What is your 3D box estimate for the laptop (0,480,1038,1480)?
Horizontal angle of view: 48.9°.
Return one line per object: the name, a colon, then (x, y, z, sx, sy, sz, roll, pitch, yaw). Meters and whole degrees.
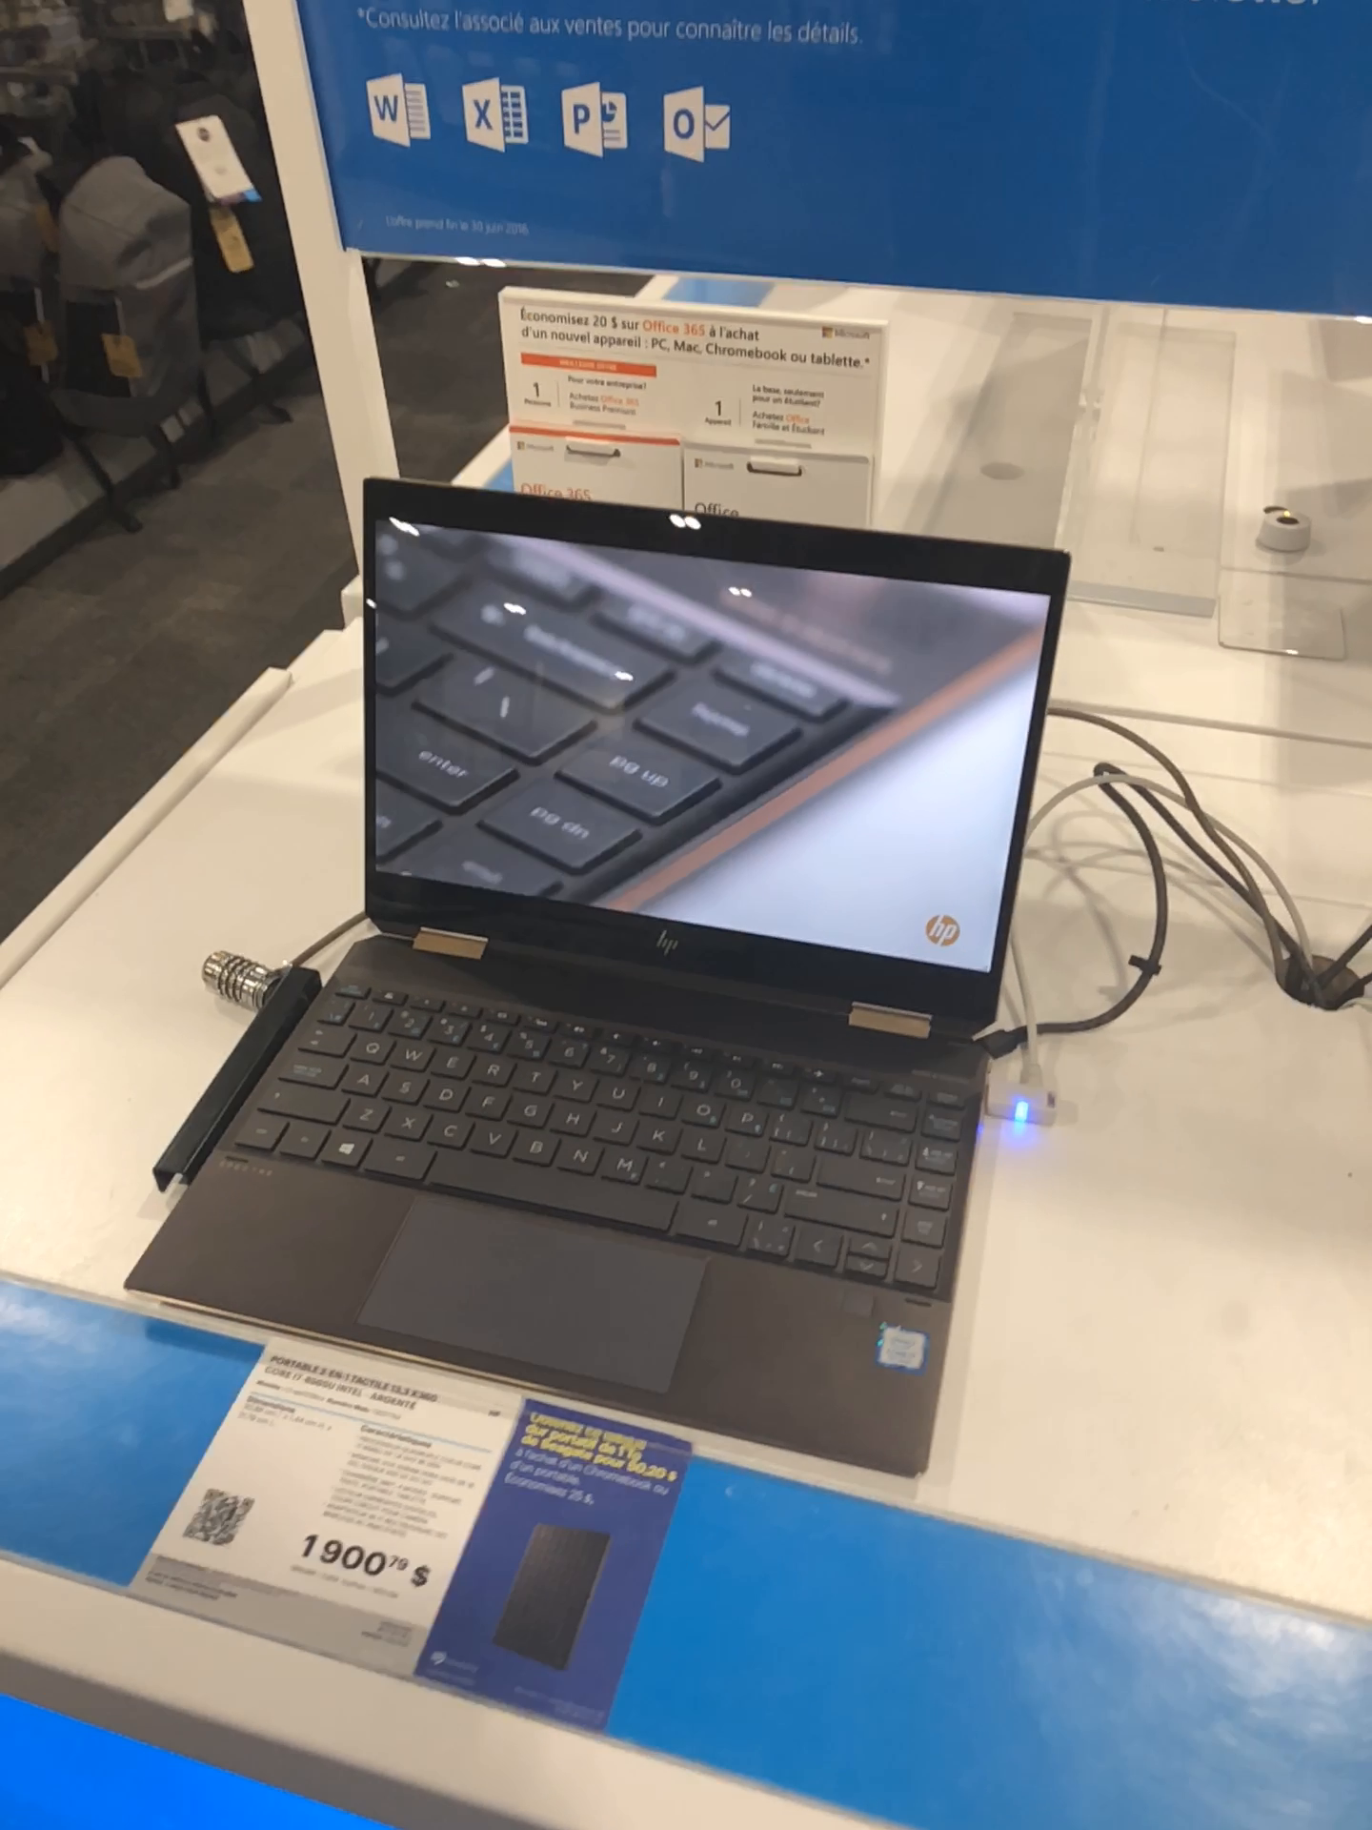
laptop: (-0.034, 0.000, 0.585, 0.297, 0.197, 0.286, 9, 40, 12)
